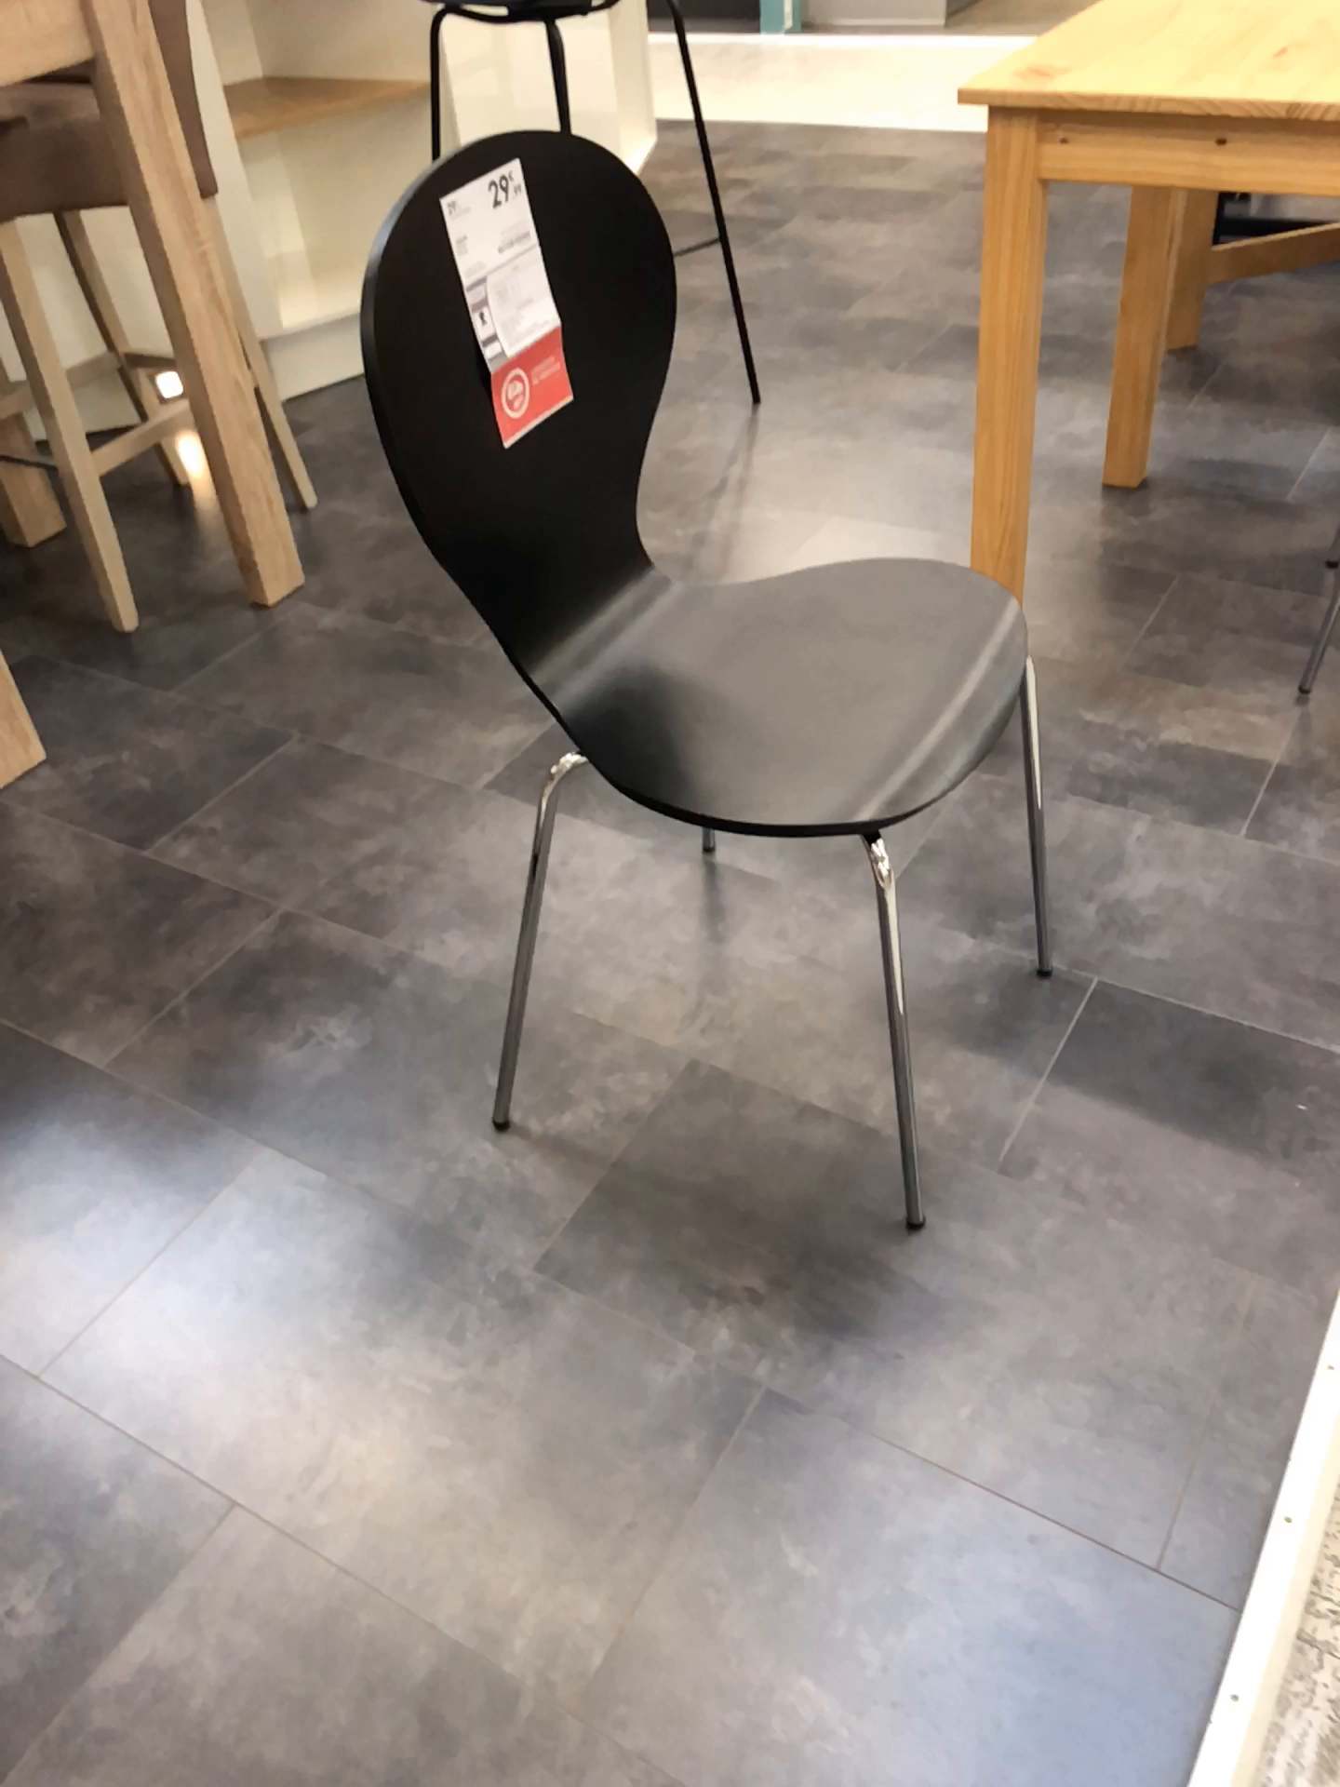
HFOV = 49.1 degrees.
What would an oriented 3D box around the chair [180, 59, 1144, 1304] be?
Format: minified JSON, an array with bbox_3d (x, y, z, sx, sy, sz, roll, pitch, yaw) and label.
[{"bbox_3d":[0.052,-0.182,1.309,0.500,0.895,0.493,16,44,26],"label":"chair"}]
